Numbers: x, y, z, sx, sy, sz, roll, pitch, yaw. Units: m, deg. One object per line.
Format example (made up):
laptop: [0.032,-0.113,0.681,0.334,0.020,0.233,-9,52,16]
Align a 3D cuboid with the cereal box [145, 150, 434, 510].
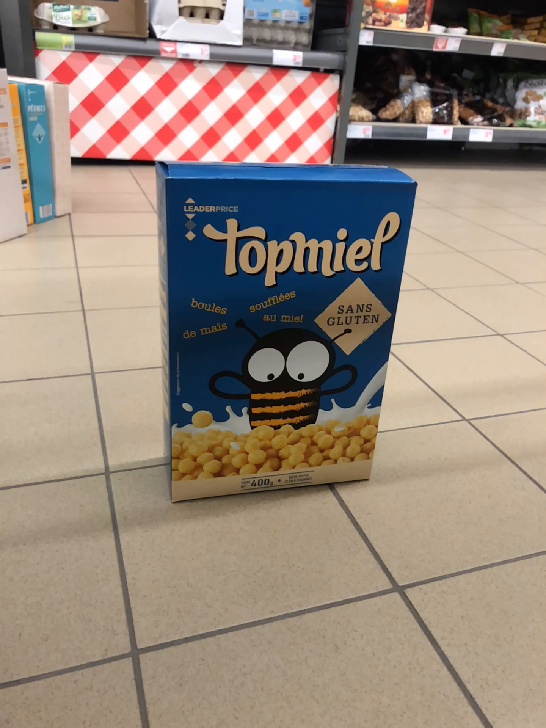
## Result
cereal box: [0.002,-0.025,0.508,0.200,0.278,0.080,-4,28,-16]
